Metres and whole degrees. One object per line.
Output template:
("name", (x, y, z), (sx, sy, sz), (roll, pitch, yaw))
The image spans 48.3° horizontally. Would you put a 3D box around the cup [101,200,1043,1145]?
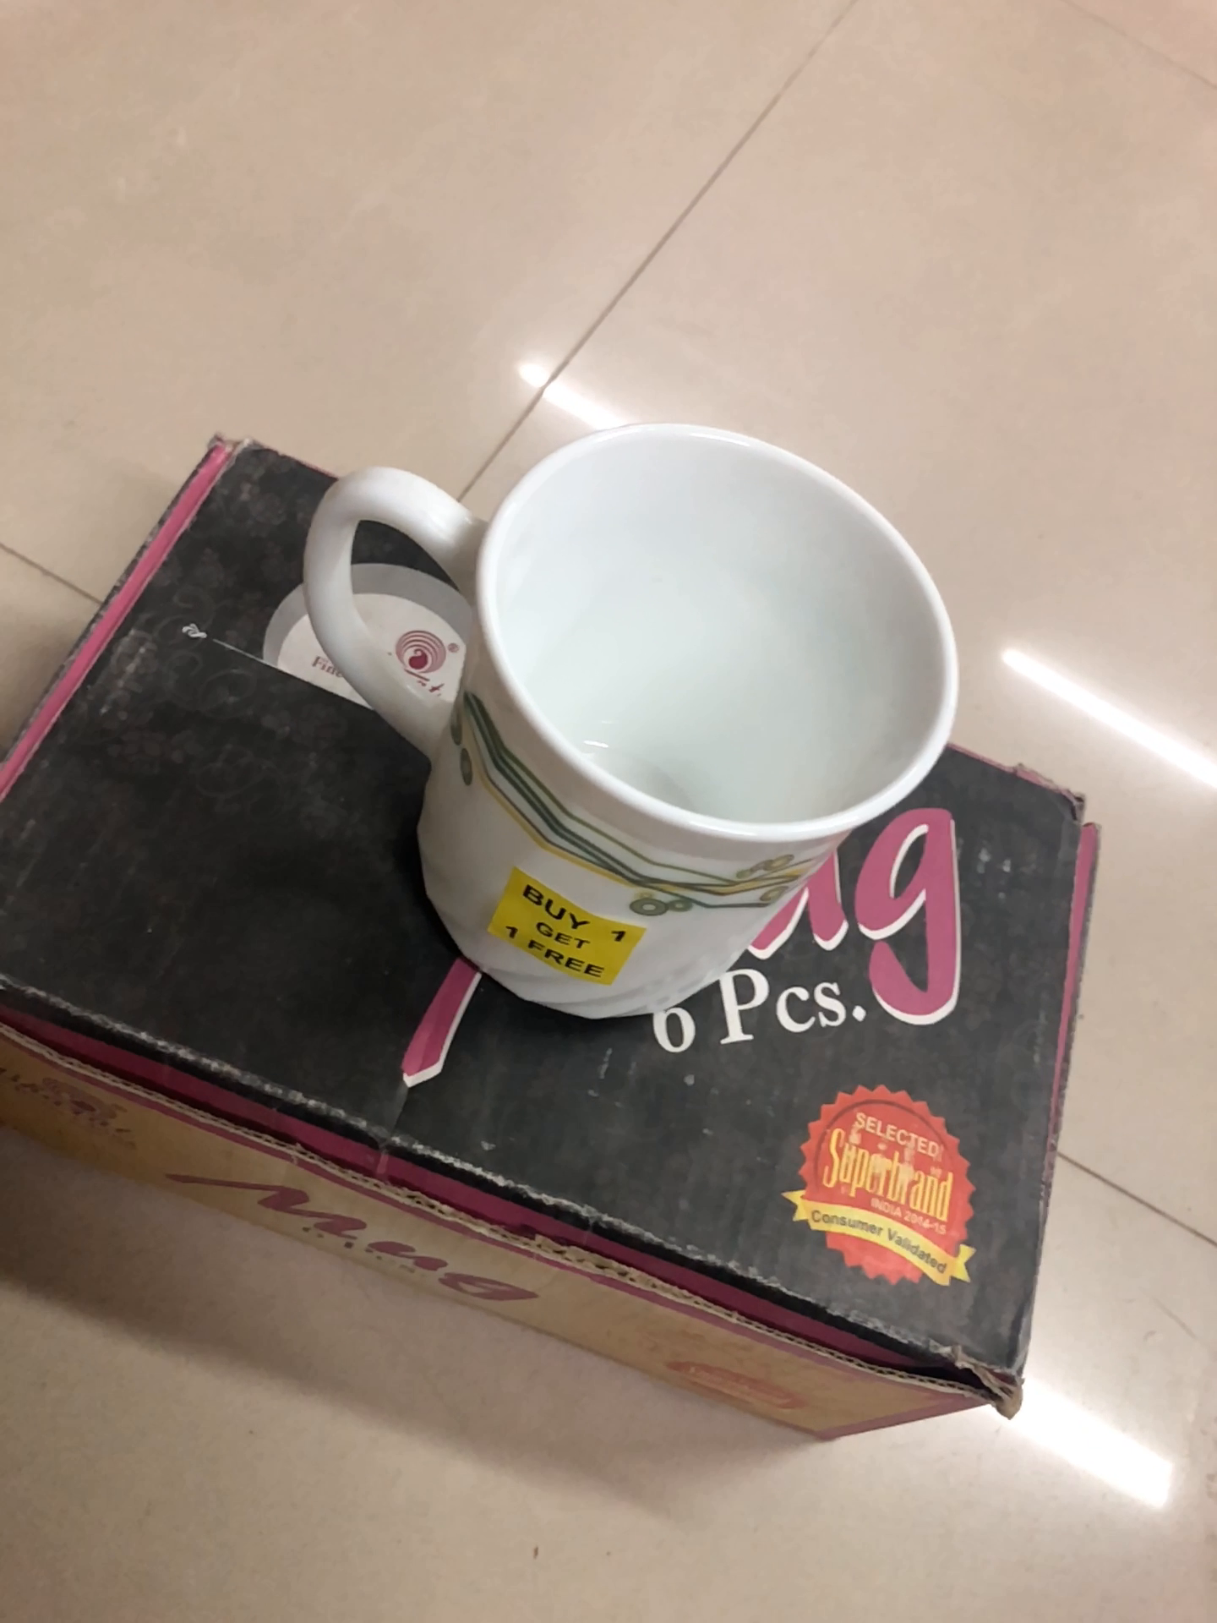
("cup", (-0.011, -0.017, 0.241), (0.120, 0.100, 0.080), (28, 57, -1))
